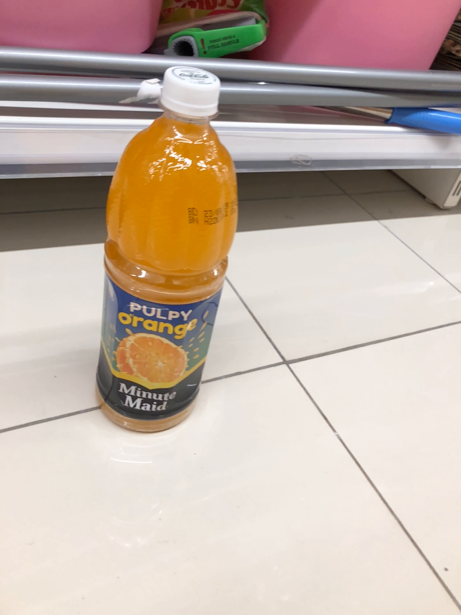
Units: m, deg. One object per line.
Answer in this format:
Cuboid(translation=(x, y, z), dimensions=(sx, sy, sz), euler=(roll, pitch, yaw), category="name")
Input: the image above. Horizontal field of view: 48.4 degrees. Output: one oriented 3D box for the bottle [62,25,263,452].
Cuboid(translation=(-0.055, -0.024, 0.345), dimensions=(0.090, 0.268, 0.081), euler=(12, 38, -4), category="bottle")
